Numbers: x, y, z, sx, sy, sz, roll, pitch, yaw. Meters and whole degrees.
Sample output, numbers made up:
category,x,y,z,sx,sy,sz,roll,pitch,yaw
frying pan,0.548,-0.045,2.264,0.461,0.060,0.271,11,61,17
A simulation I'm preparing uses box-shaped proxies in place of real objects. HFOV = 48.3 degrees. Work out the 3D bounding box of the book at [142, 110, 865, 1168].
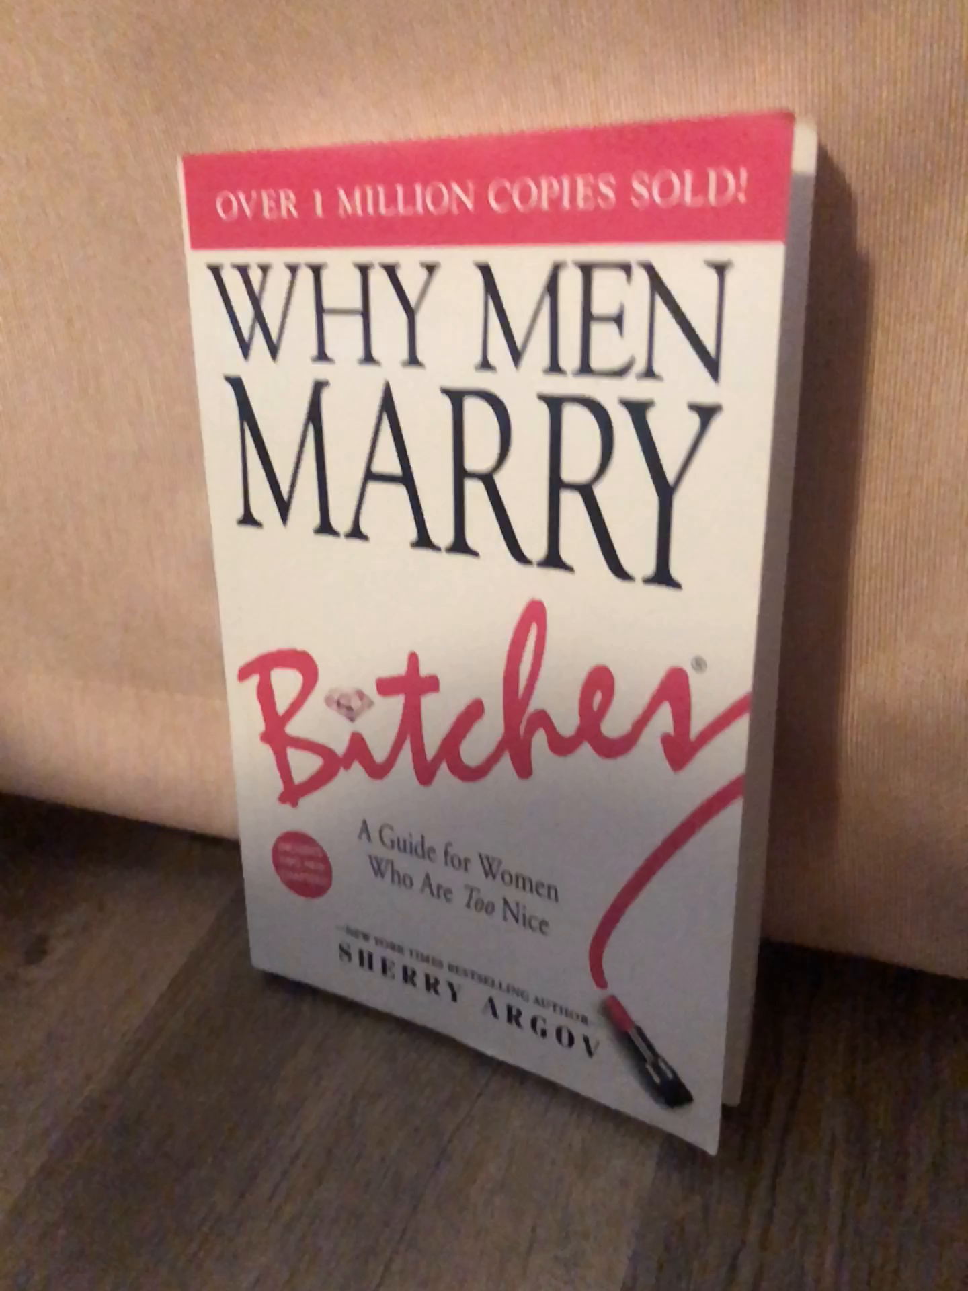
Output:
category,x,y,z,sx,sy,sz,roll,pitch,yaw
book,-0.003,-0.002,0.260,0.150,0.219,0.037,11,23,28
